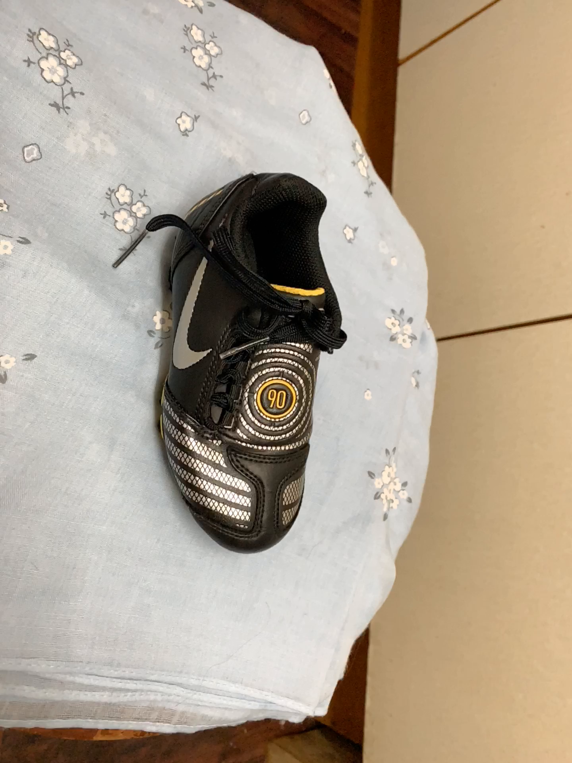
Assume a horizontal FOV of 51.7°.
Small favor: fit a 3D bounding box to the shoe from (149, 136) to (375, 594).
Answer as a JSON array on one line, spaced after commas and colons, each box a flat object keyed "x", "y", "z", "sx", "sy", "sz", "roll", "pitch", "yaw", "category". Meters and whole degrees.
[{"x": -0.014, "y": -0.006, "z": 0.296, "sx": 0.080, "sy": 0.070, "sz": 0.190, "roll": 1, "pitch": 84, "yaw": -38, "category": "shoe"}]
